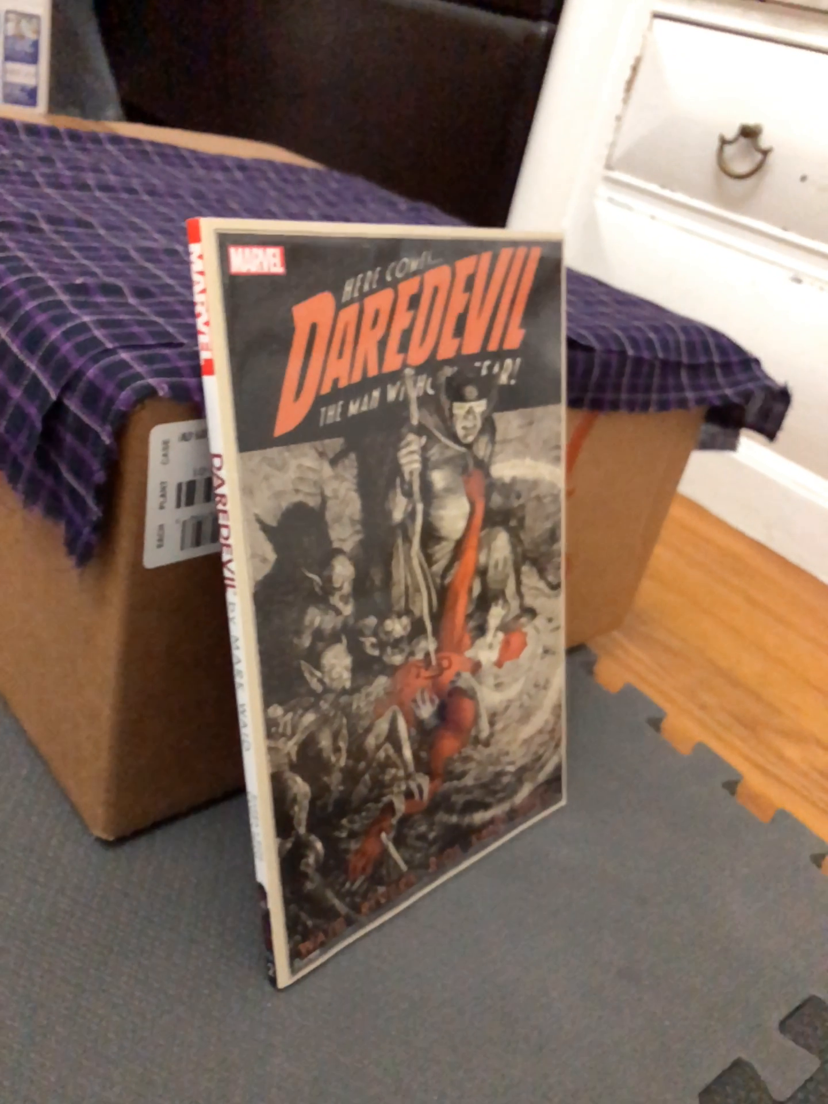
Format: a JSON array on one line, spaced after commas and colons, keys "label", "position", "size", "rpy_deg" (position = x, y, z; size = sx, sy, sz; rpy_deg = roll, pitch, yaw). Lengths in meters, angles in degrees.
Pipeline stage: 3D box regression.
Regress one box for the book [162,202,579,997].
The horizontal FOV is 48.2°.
[{"label": "book", "position": [0.002, 0.007, 0.318], "size": [0.020, 0.229, 0.161], "rpy_deg": [10, 19, 43]}]
